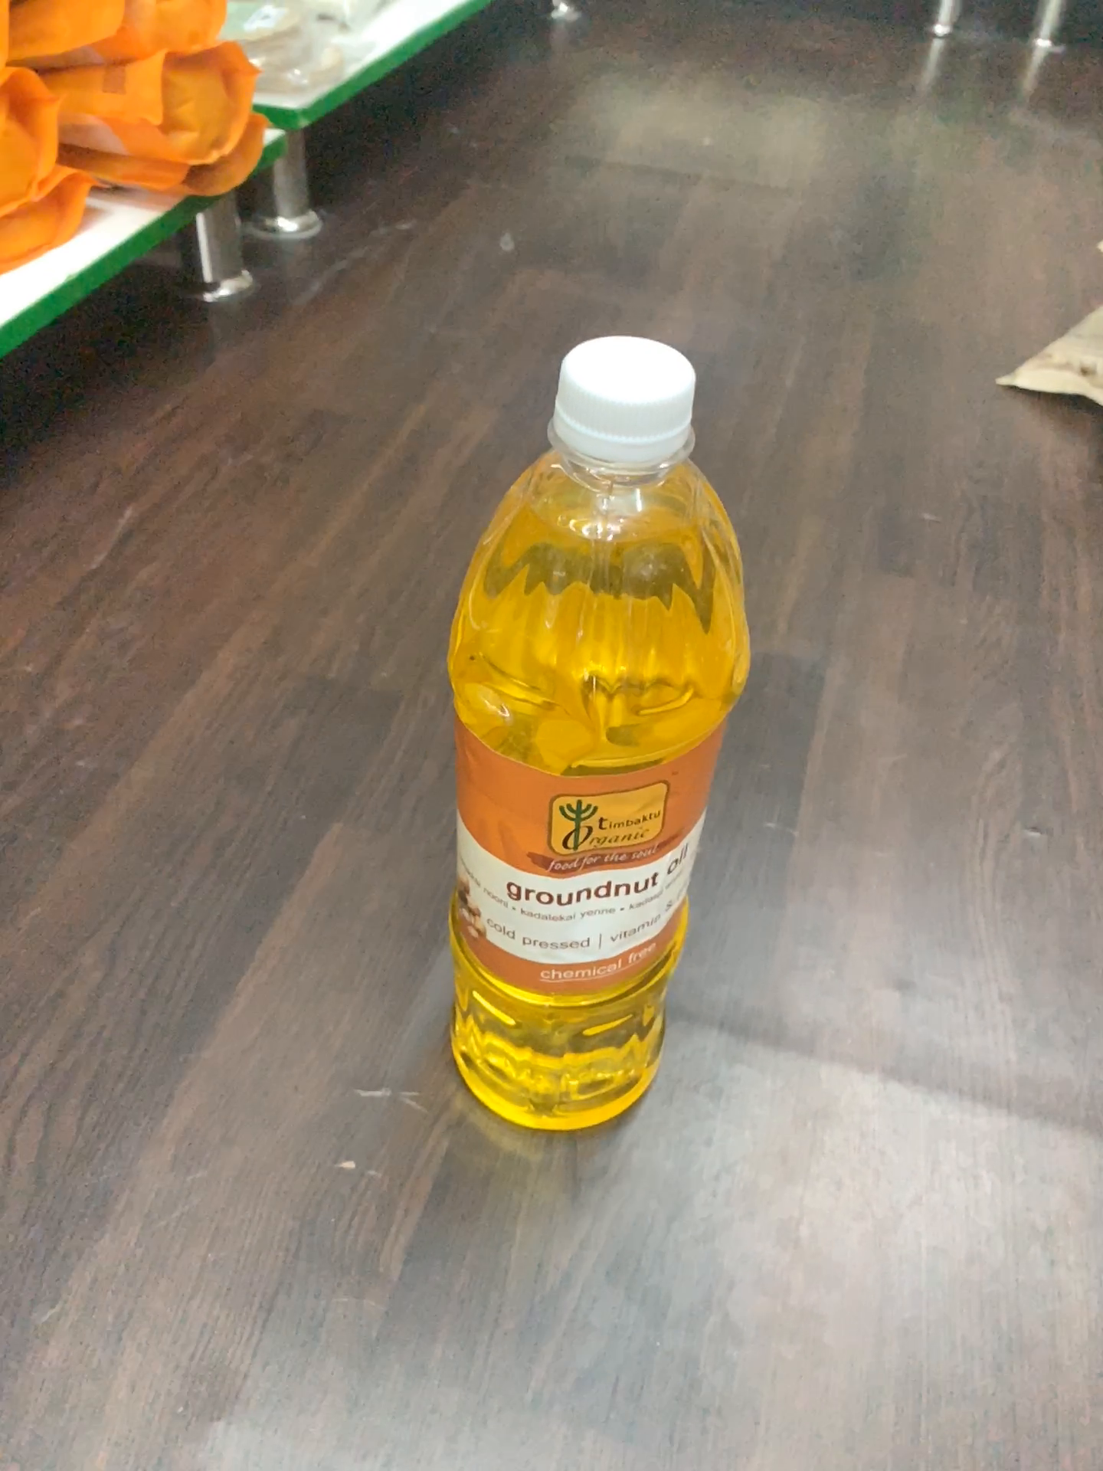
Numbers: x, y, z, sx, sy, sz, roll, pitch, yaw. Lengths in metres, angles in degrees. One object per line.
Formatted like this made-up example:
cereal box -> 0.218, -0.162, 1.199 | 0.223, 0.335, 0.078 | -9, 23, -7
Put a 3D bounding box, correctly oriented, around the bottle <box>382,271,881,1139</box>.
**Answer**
bottle -> 0.005, 0.015, 0.317 | 0.090, 0.259, 0.070 | -2, 44, -6
